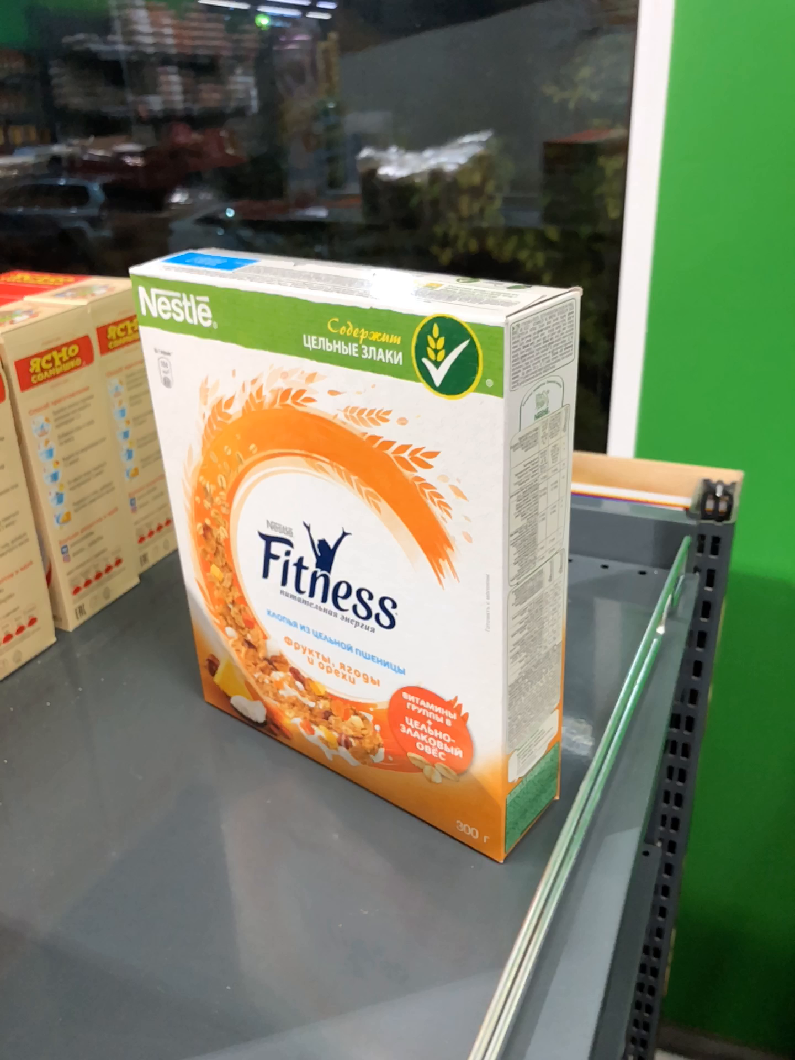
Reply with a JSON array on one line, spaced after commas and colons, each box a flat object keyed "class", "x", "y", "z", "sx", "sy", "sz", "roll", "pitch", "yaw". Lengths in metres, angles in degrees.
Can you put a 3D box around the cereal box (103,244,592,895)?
[{"class": "cereal box", "x": -0.026, "y": 0.008, "z": 0.394, "sx": 0.200, "sy": 0.239, "sz": 0.060, "roll": 18, "pitch": 33, "yaw": 35}]
